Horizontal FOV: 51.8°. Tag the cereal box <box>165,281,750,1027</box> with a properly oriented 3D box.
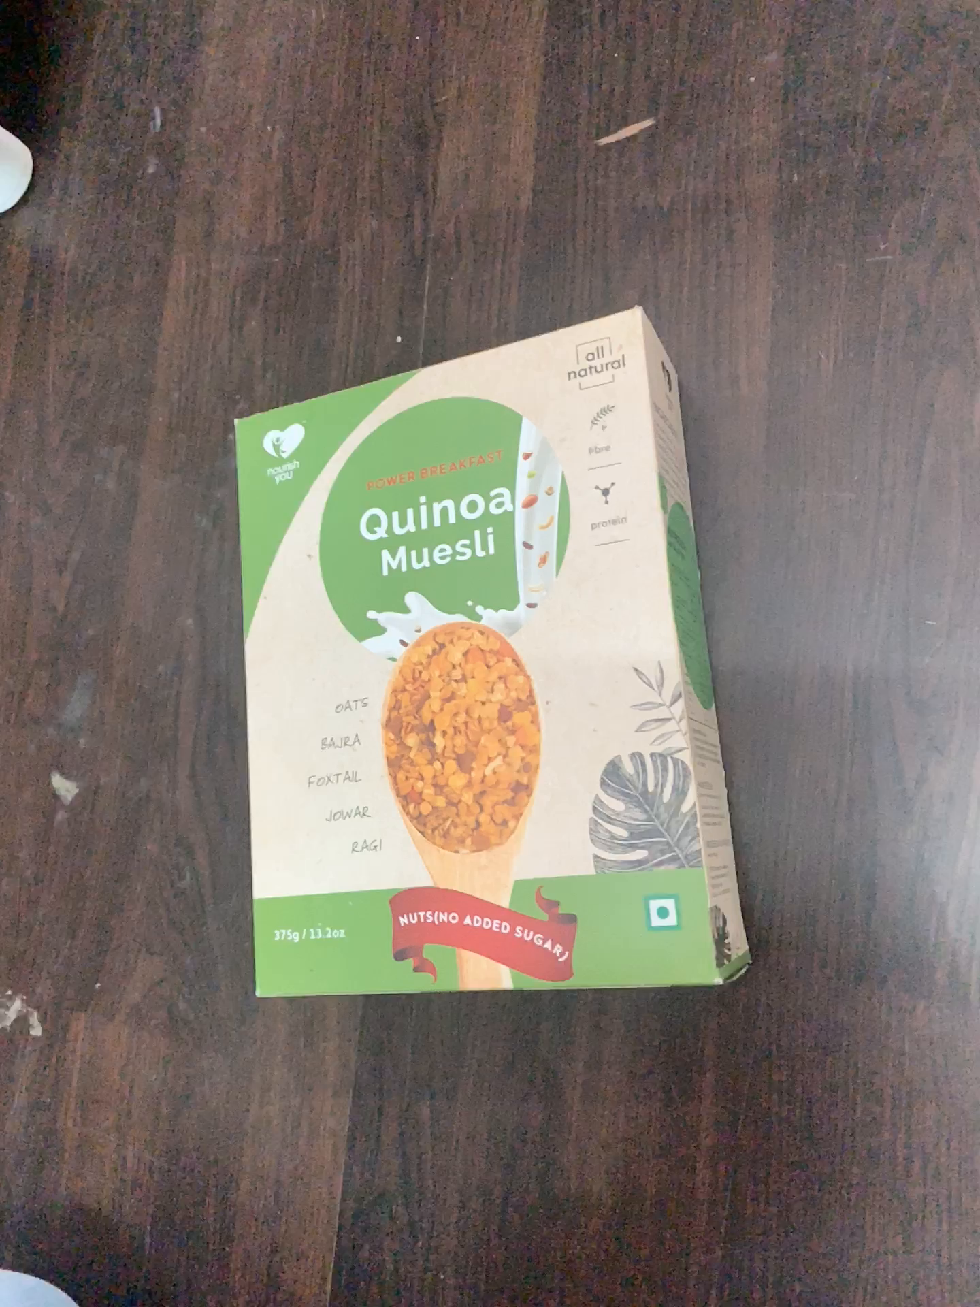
[{"bbox_3d":[-0.017,0.010,0.345,0.170,0.070,0.210,-9,80,24],"label":"cereal box"}]
